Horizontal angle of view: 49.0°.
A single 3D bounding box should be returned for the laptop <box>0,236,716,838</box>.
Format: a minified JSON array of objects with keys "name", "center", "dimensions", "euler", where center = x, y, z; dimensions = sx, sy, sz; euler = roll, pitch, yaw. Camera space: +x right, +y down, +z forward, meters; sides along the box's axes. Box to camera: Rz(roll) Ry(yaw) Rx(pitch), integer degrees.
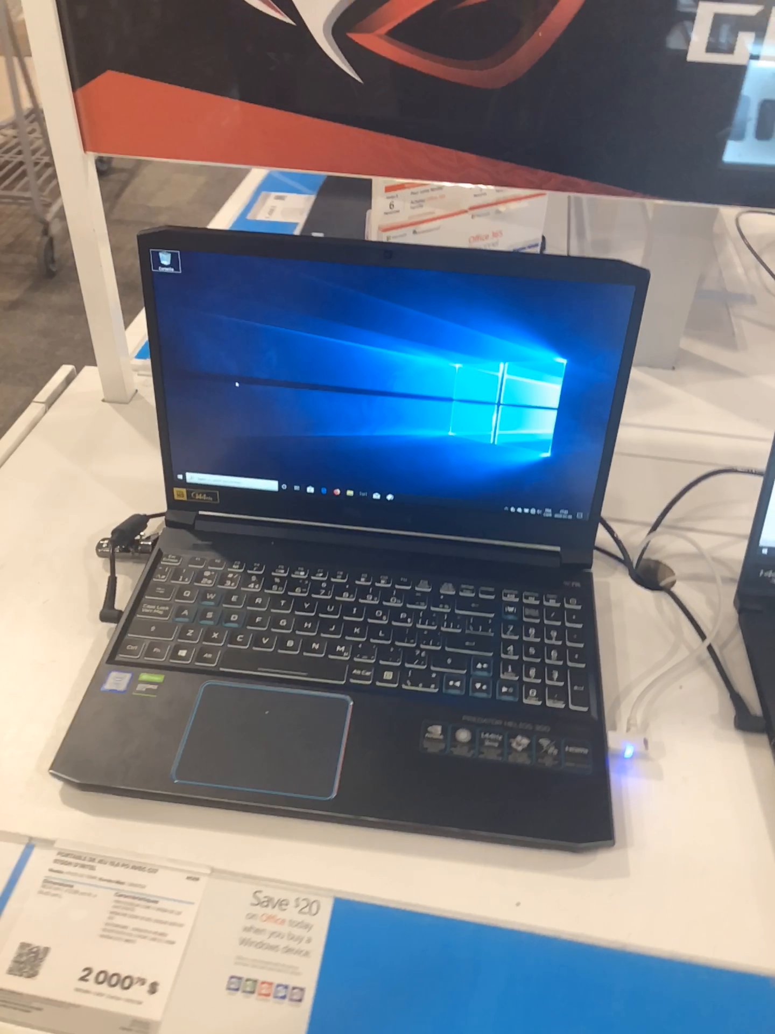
[{"name":"laptop","center":[-0.018,-0.001,0.549],"dimensions":[0.348,0.230,0.274],"euler":[6,42,5]}]
